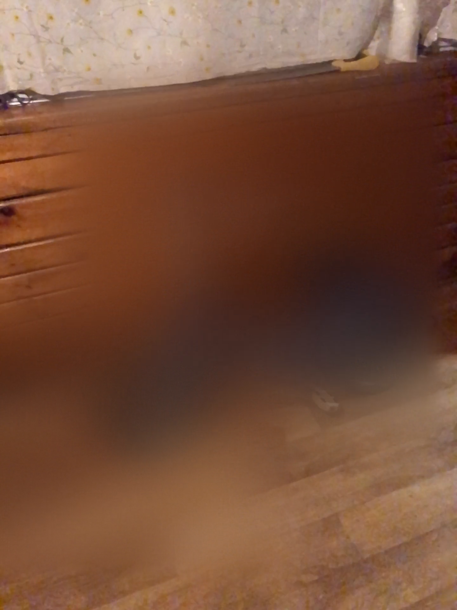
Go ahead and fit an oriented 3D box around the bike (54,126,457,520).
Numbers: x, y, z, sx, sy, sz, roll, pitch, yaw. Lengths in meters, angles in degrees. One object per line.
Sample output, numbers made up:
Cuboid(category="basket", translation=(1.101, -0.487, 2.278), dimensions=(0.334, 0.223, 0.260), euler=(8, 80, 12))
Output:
Cuboid(category="bike", translation=(0.109, -0.014, 1.367), dimensions=(0.956, 0.698, 0.596), euler=(-11, 38, -15))
